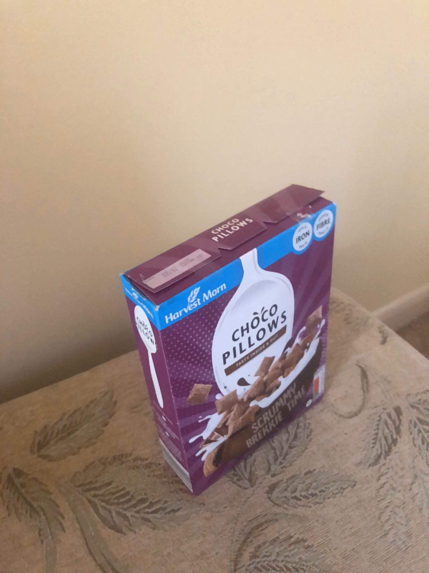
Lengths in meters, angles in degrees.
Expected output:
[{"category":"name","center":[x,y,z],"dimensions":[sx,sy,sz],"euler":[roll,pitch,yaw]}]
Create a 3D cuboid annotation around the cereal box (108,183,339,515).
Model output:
[{"category":"cereal box","center":[0.022,0.068,0.474],"dimensions":[0.201,0.278,0.060],"euler":[-31,46,-30]}]
